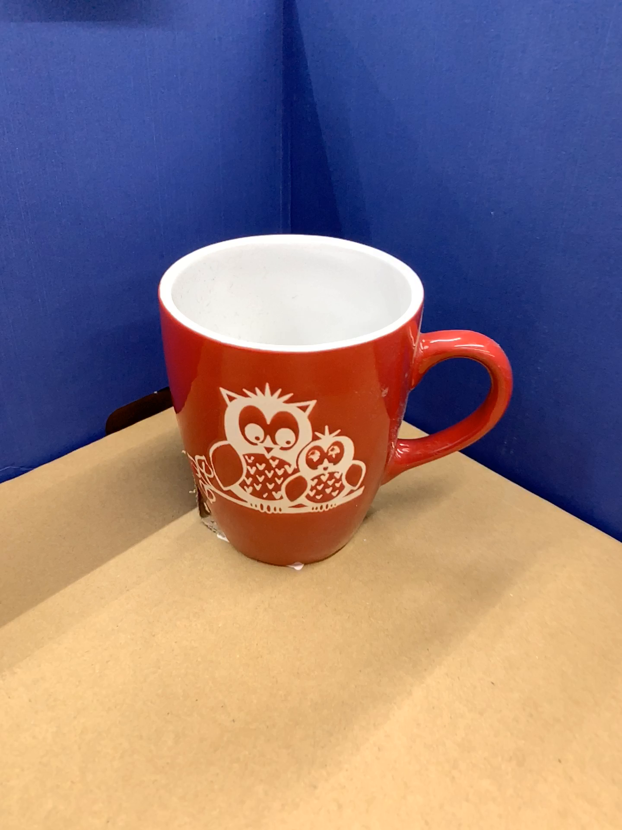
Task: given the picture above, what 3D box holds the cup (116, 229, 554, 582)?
[{"bbox_3d":[0.004,-0.008,0.242,0.120,0.091,0.100,0,33,-3],"label":"cup"}]
